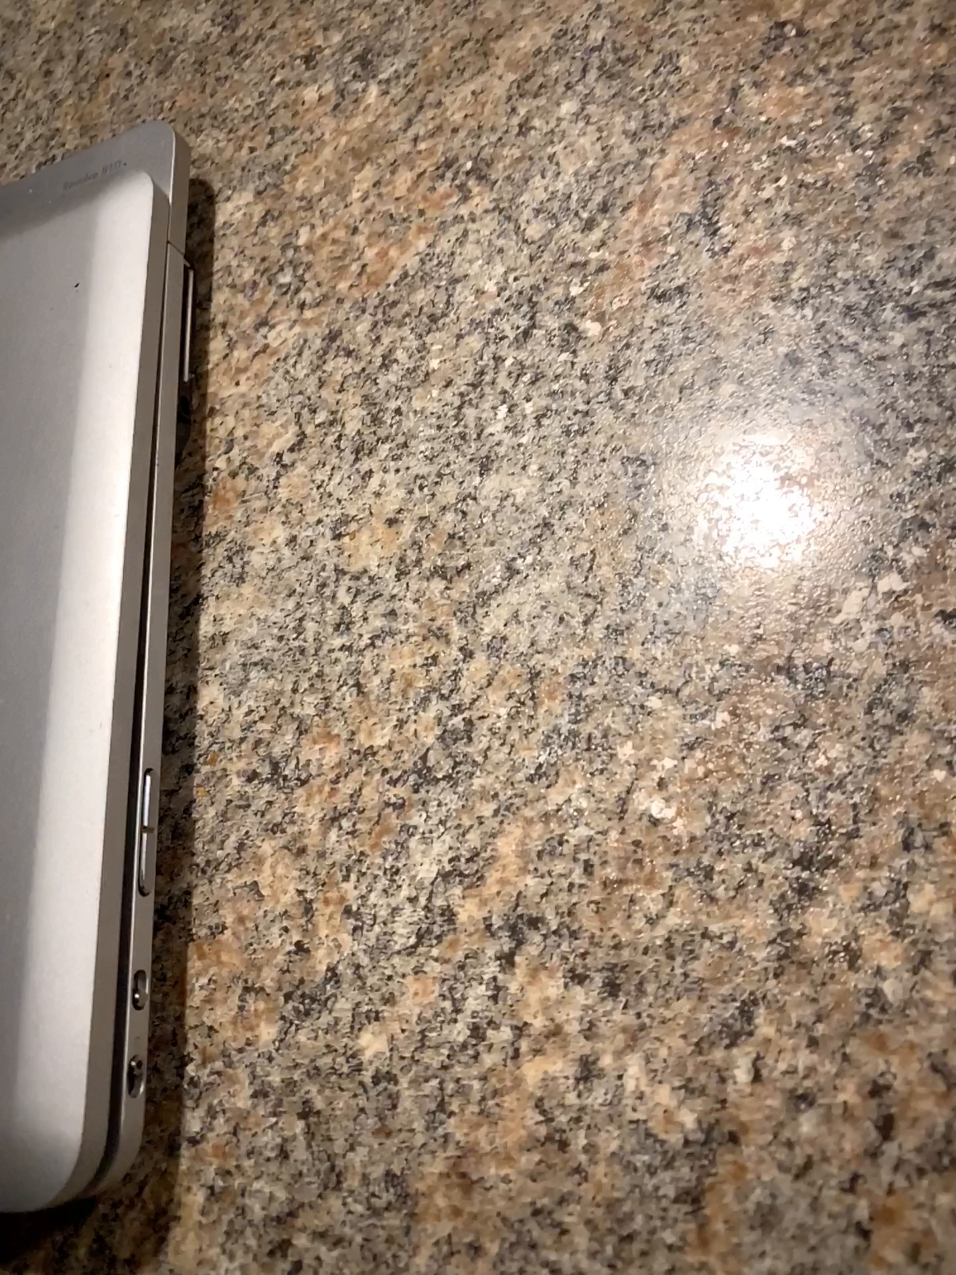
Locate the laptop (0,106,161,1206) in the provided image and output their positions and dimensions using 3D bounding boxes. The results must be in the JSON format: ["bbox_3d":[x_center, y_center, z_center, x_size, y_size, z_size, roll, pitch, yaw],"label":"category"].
[{"bbox_3d":[-0.184,0.008,0.212,0.267,0.005,0.194,-12,66,20],"label":"laptop"}]
